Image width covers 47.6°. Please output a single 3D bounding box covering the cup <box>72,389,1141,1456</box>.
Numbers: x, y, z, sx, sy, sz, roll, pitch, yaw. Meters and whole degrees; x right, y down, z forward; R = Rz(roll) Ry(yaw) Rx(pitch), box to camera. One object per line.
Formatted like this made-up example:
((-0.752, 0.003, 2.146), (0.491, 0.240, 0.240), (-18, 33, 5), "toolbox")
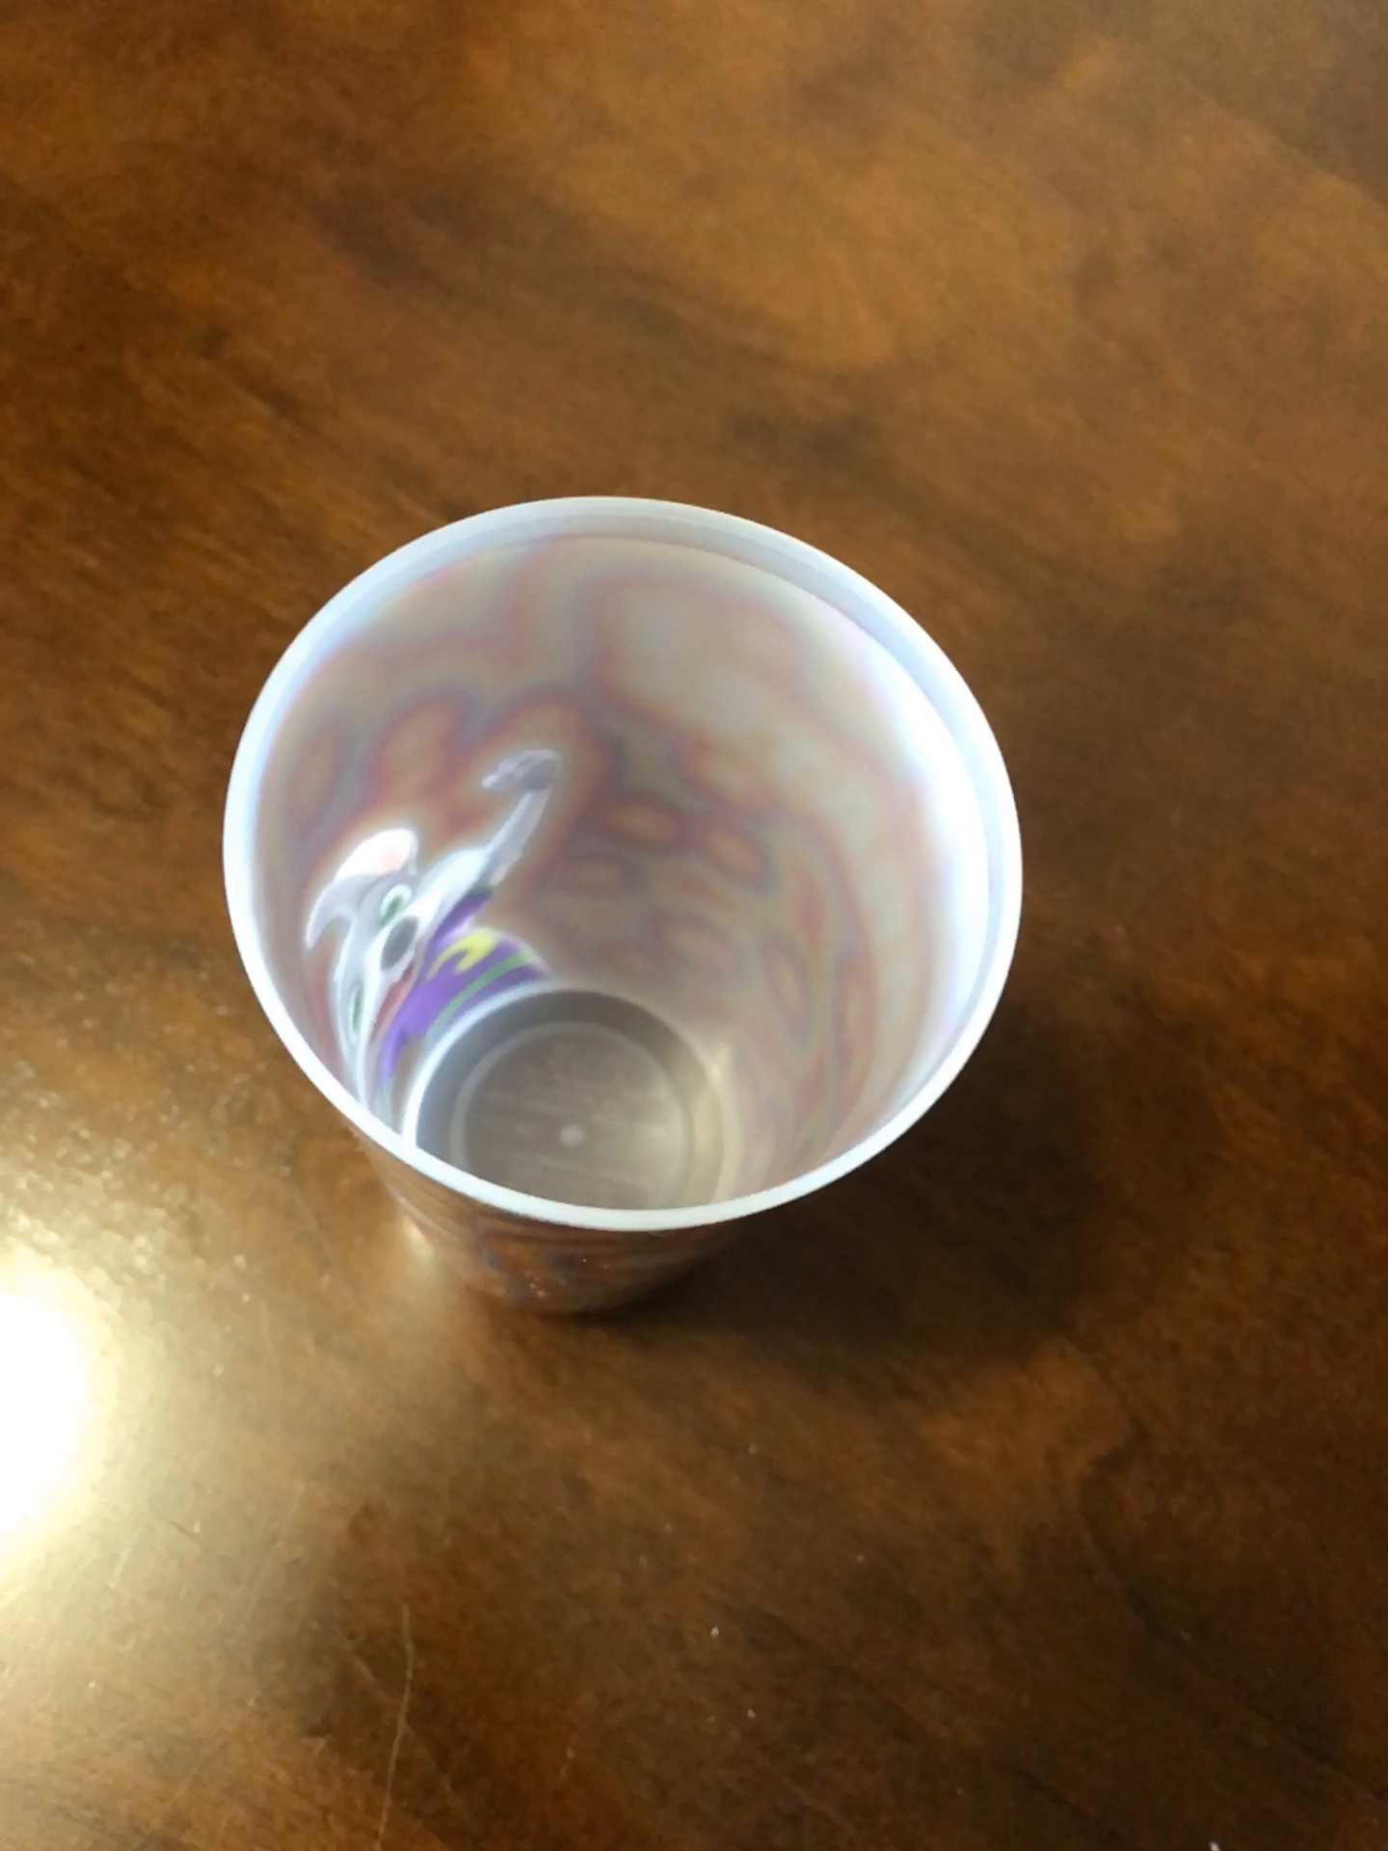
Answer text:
((-0.012, 0.014, 0.203), (0.070, 0.130, 0.070), (2, 69, -6), "cup")
